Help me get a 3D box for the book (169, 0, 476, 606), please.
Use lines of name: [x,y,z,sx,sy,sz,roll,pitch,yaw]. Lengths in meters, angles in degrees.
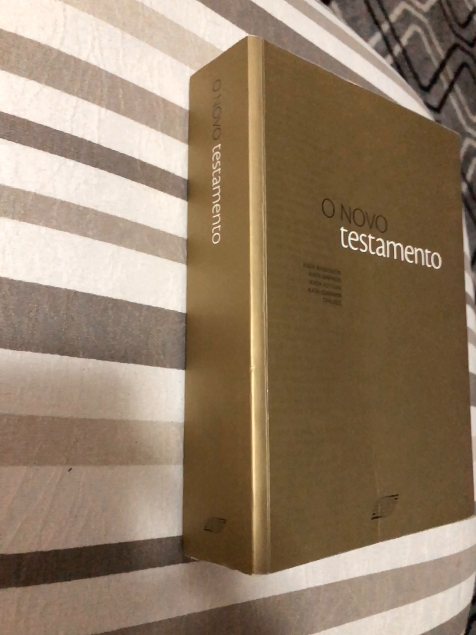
book: [0.048,-0.009,0.261,0.161,0.050,0.230,7,77,-39]
